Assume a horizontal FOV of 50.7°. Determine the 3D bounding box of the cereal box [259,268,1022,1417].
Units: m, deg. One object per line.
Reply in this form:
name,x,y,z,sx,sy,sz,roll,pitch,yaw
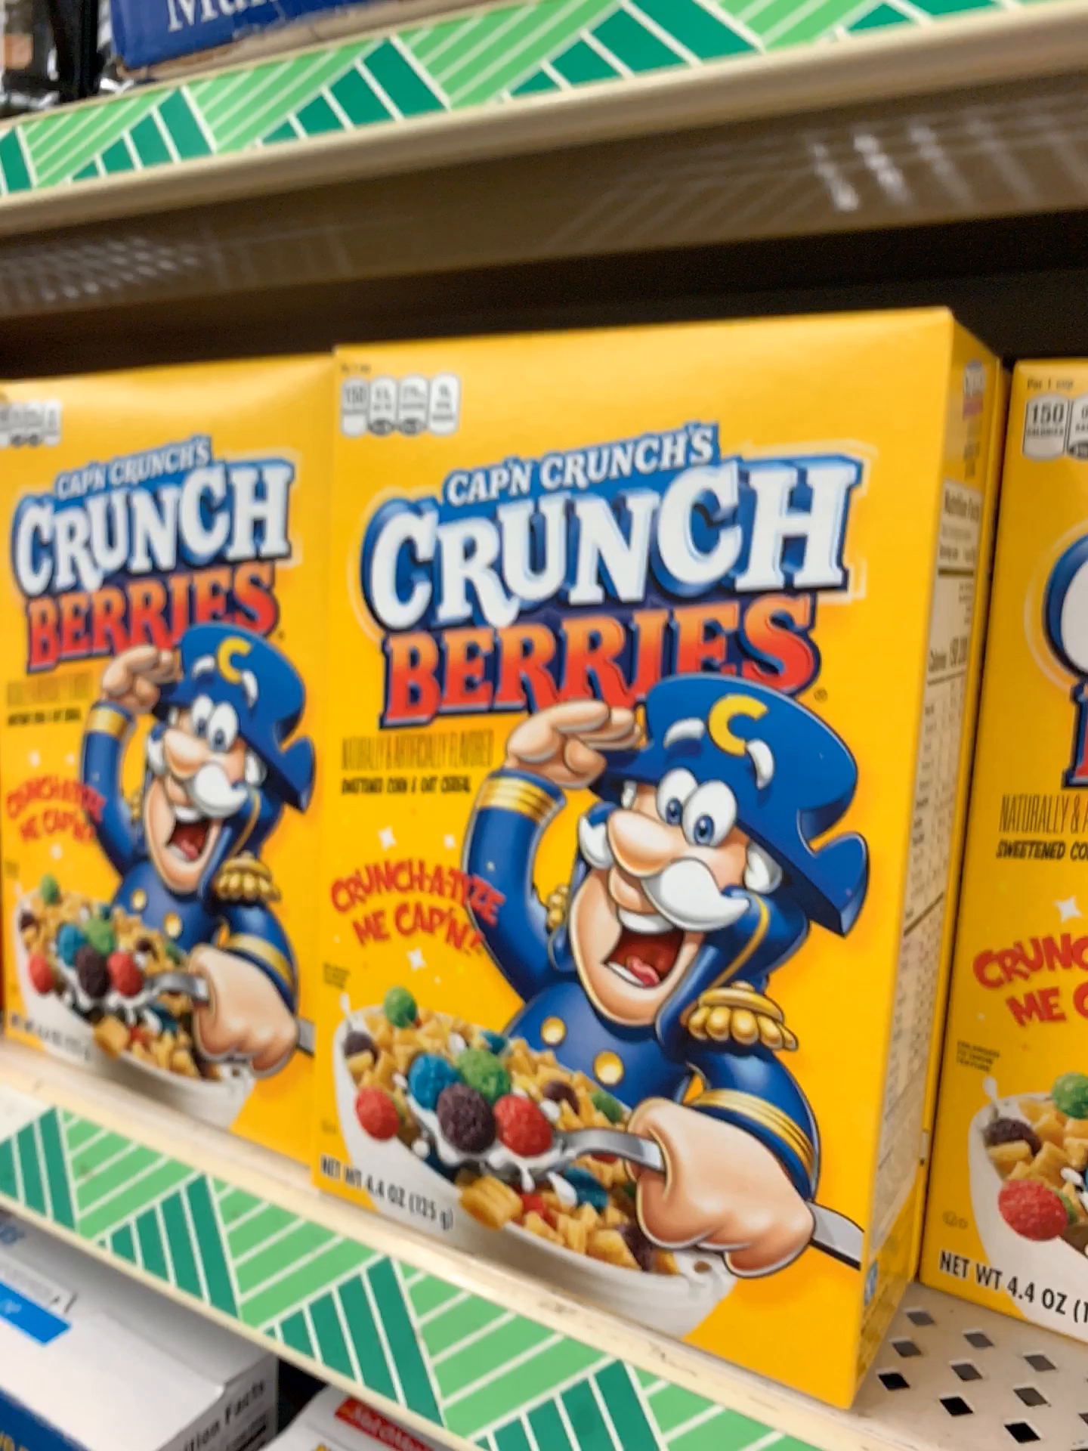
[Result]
cereal box,0.012,0.015,0.254,0.150,0.200,0.050,7,9,30
